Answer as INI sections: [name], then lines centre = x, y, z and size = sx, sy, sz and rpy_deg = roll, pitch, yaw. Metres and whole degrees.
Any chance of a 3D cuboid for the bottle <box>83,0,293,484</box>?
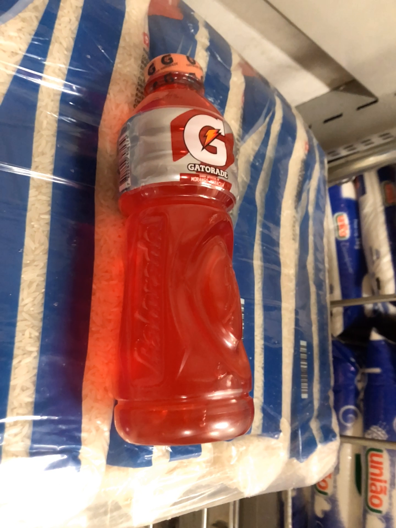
[bottle]
centre = -0.003, -0.020, 0.229
size = 0.080, 0.060, 0.220
rpy_deg = 9, 78, -41
